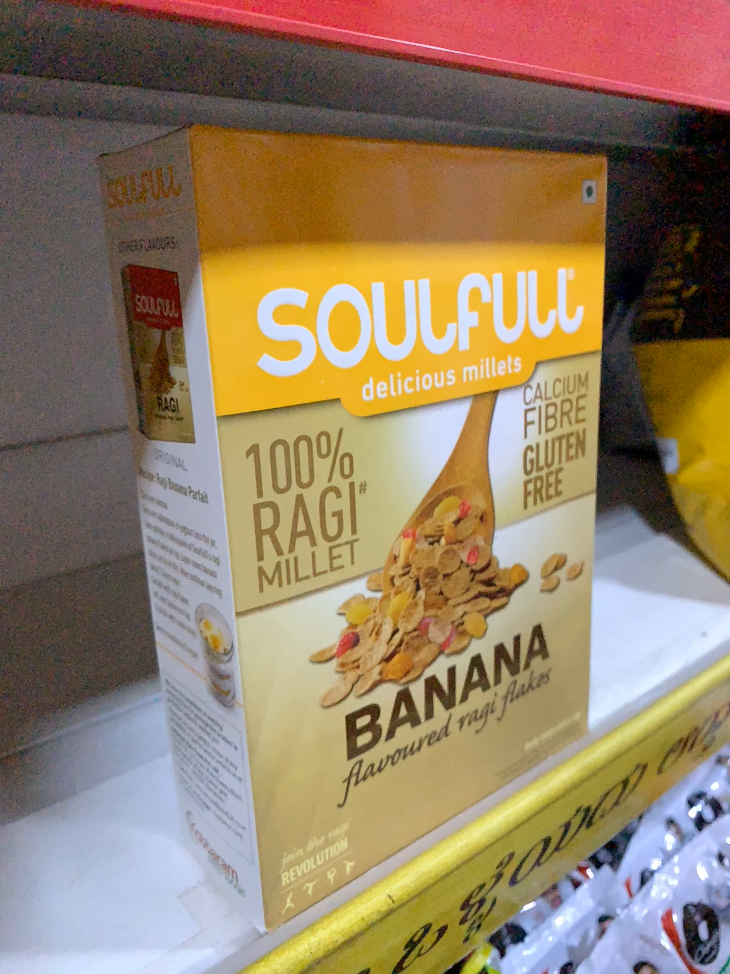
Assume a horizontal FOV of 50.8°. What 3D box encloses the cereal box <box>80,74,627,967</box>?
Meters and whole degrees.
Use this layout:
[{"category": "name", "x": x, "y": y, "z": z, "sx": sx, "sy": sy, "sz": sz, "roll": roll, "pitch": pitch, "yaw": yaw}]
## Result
[{"category": "cereal box", "x": 0.011, "y": 0.003, "z": 0.258, "sx": 0.160, "sy": 0.229, "sz": 0.060, "roll": -15, "pitch": 19, "yaw": -37}]
